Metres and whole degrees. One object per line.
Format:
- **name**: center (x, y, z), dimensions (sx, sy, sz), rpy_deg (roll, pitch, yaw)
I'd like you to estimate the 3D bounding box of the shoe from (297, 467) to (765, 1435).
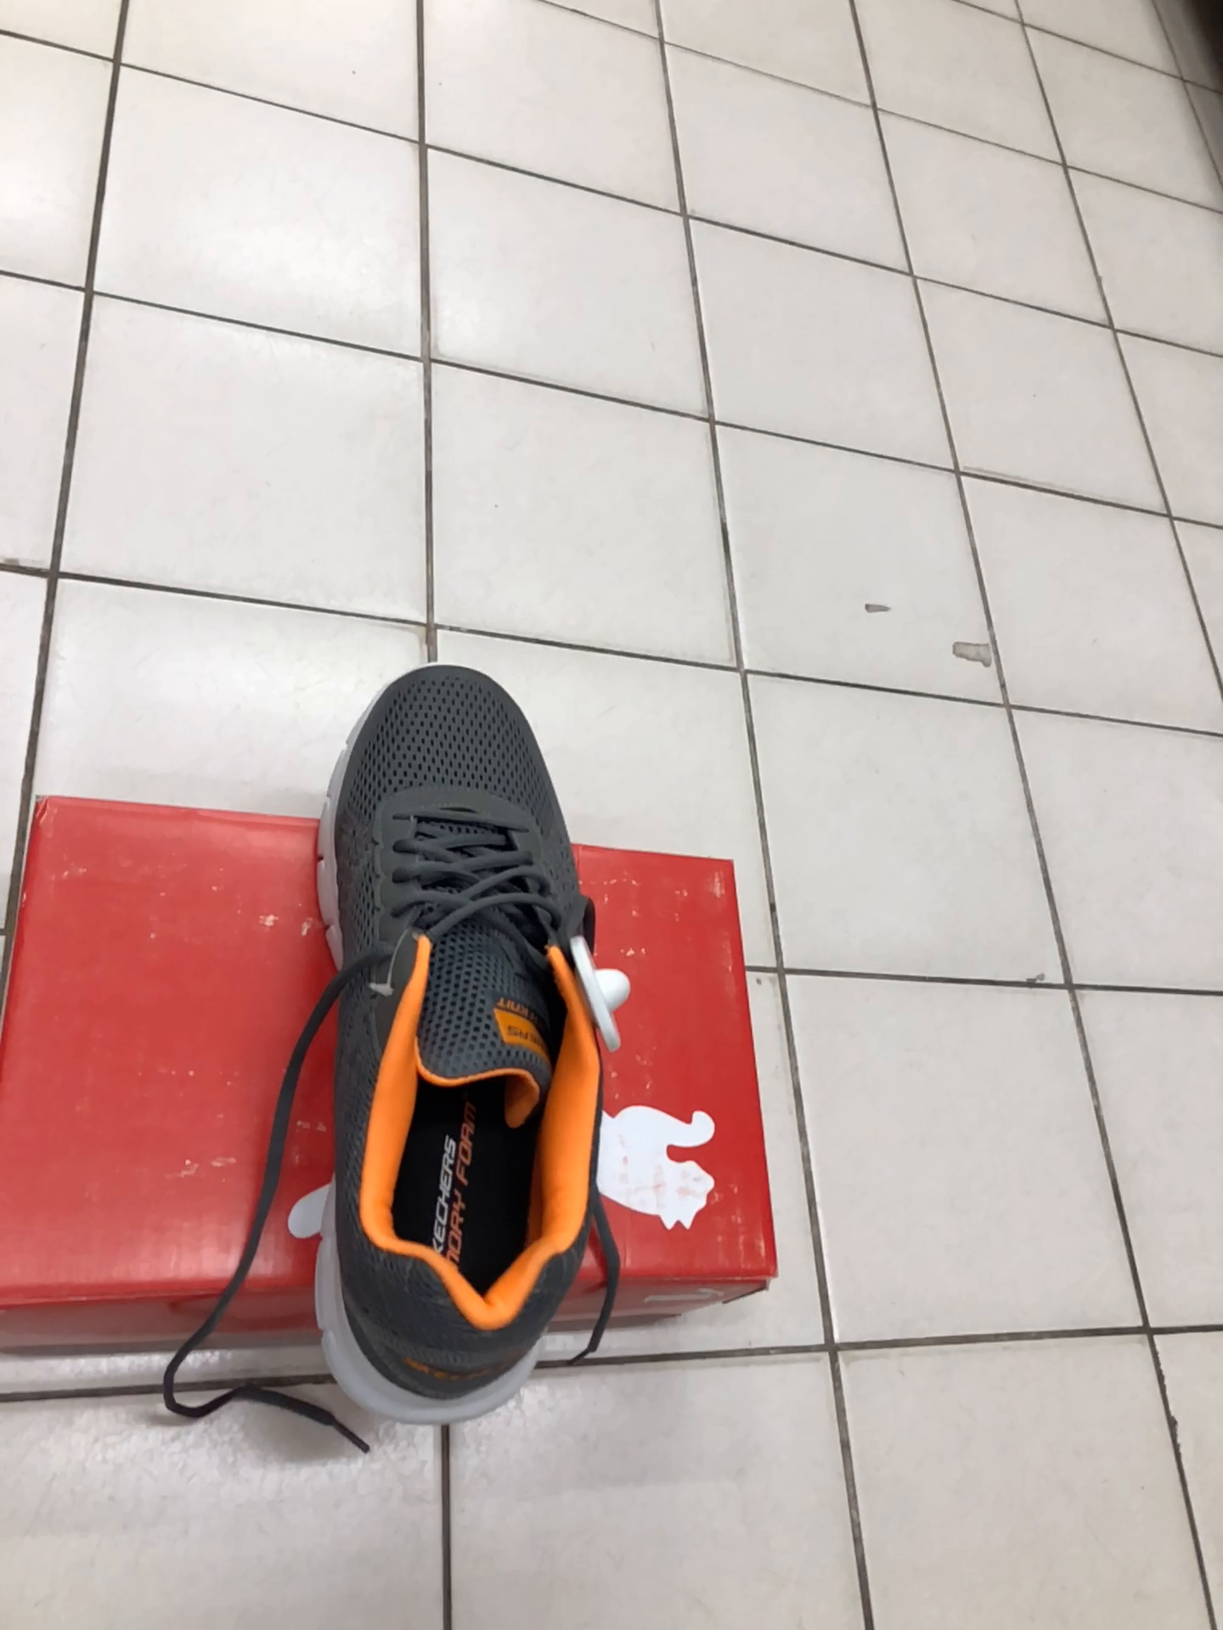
- **shoe**: center (-0.042, 0.050, 0.492), dimensions (0.110, 0.139, 0.311), rpy_deg (6, 63, -21)
